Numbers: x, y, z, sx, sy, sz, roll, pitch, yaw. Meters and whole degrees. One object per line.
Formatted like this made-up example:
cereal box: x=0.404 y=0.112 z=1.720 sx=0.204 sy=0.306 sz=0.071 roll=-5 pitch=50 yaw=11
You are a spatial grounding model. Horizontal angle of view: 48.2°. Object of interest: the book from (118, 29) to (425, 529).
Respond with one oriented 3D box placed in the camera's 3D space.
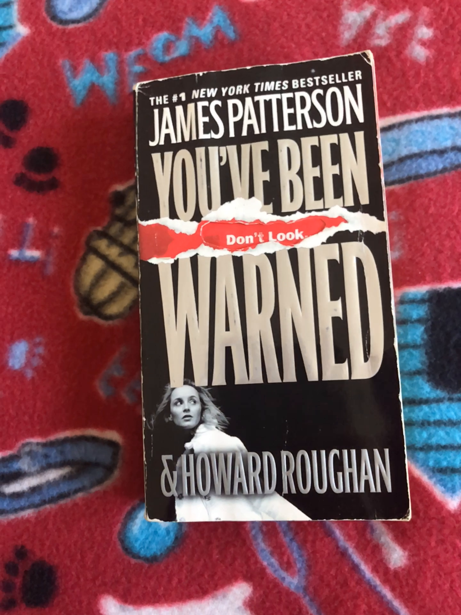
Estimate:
book: x=0.015 y=-0.009 z=0.222 sx=0.110 sy=0.040 sz=0.190 roll=-3 pitch=87 yaw=7
